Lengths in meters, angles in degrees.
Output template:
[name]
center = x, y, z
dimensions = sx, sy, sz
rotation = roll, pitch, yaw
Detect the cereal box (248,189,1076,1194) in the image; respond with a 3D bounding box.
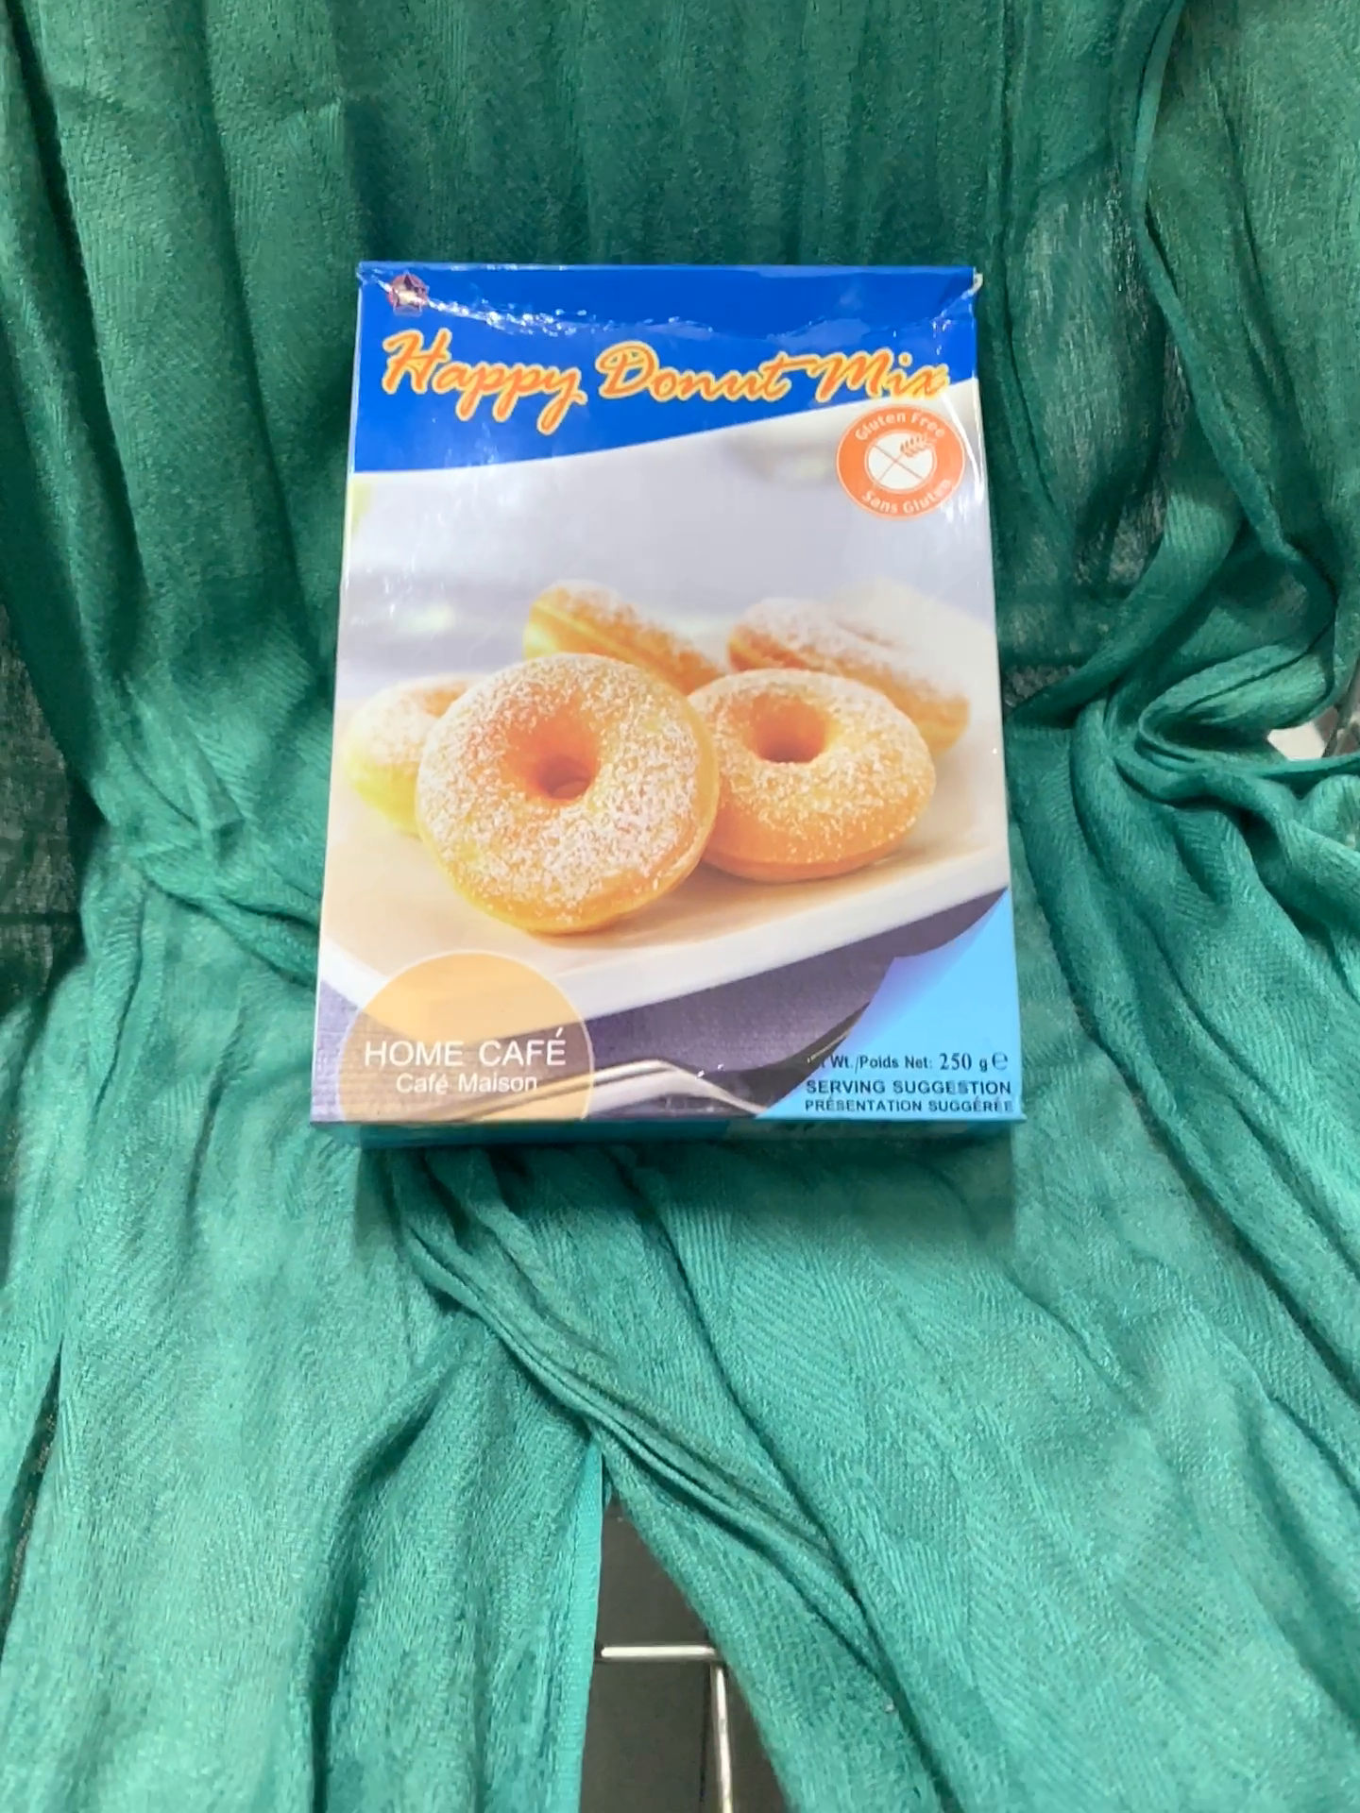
[cereal box]
center = -0.004, -0.038, 0.271
dimensions = 0.130, 0.060, 0.180
rotation = 0, 76, -3
